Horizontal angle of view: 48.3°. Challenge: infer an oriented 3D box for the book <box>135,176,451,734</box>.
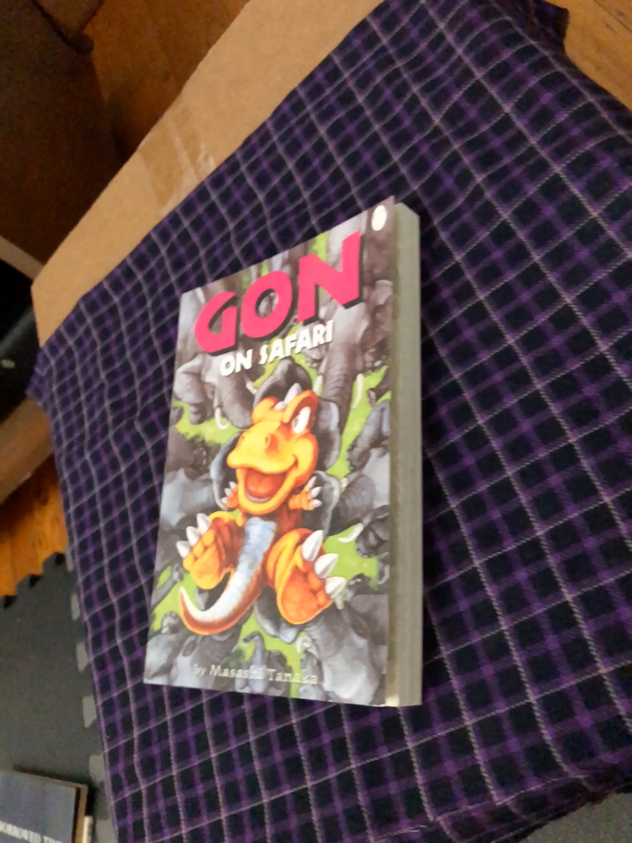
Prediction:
[{"bbox_3d":[-0.014,0.014,0.311,0.150,0.020,0.210,-12,67,39],"label":"book"}]
